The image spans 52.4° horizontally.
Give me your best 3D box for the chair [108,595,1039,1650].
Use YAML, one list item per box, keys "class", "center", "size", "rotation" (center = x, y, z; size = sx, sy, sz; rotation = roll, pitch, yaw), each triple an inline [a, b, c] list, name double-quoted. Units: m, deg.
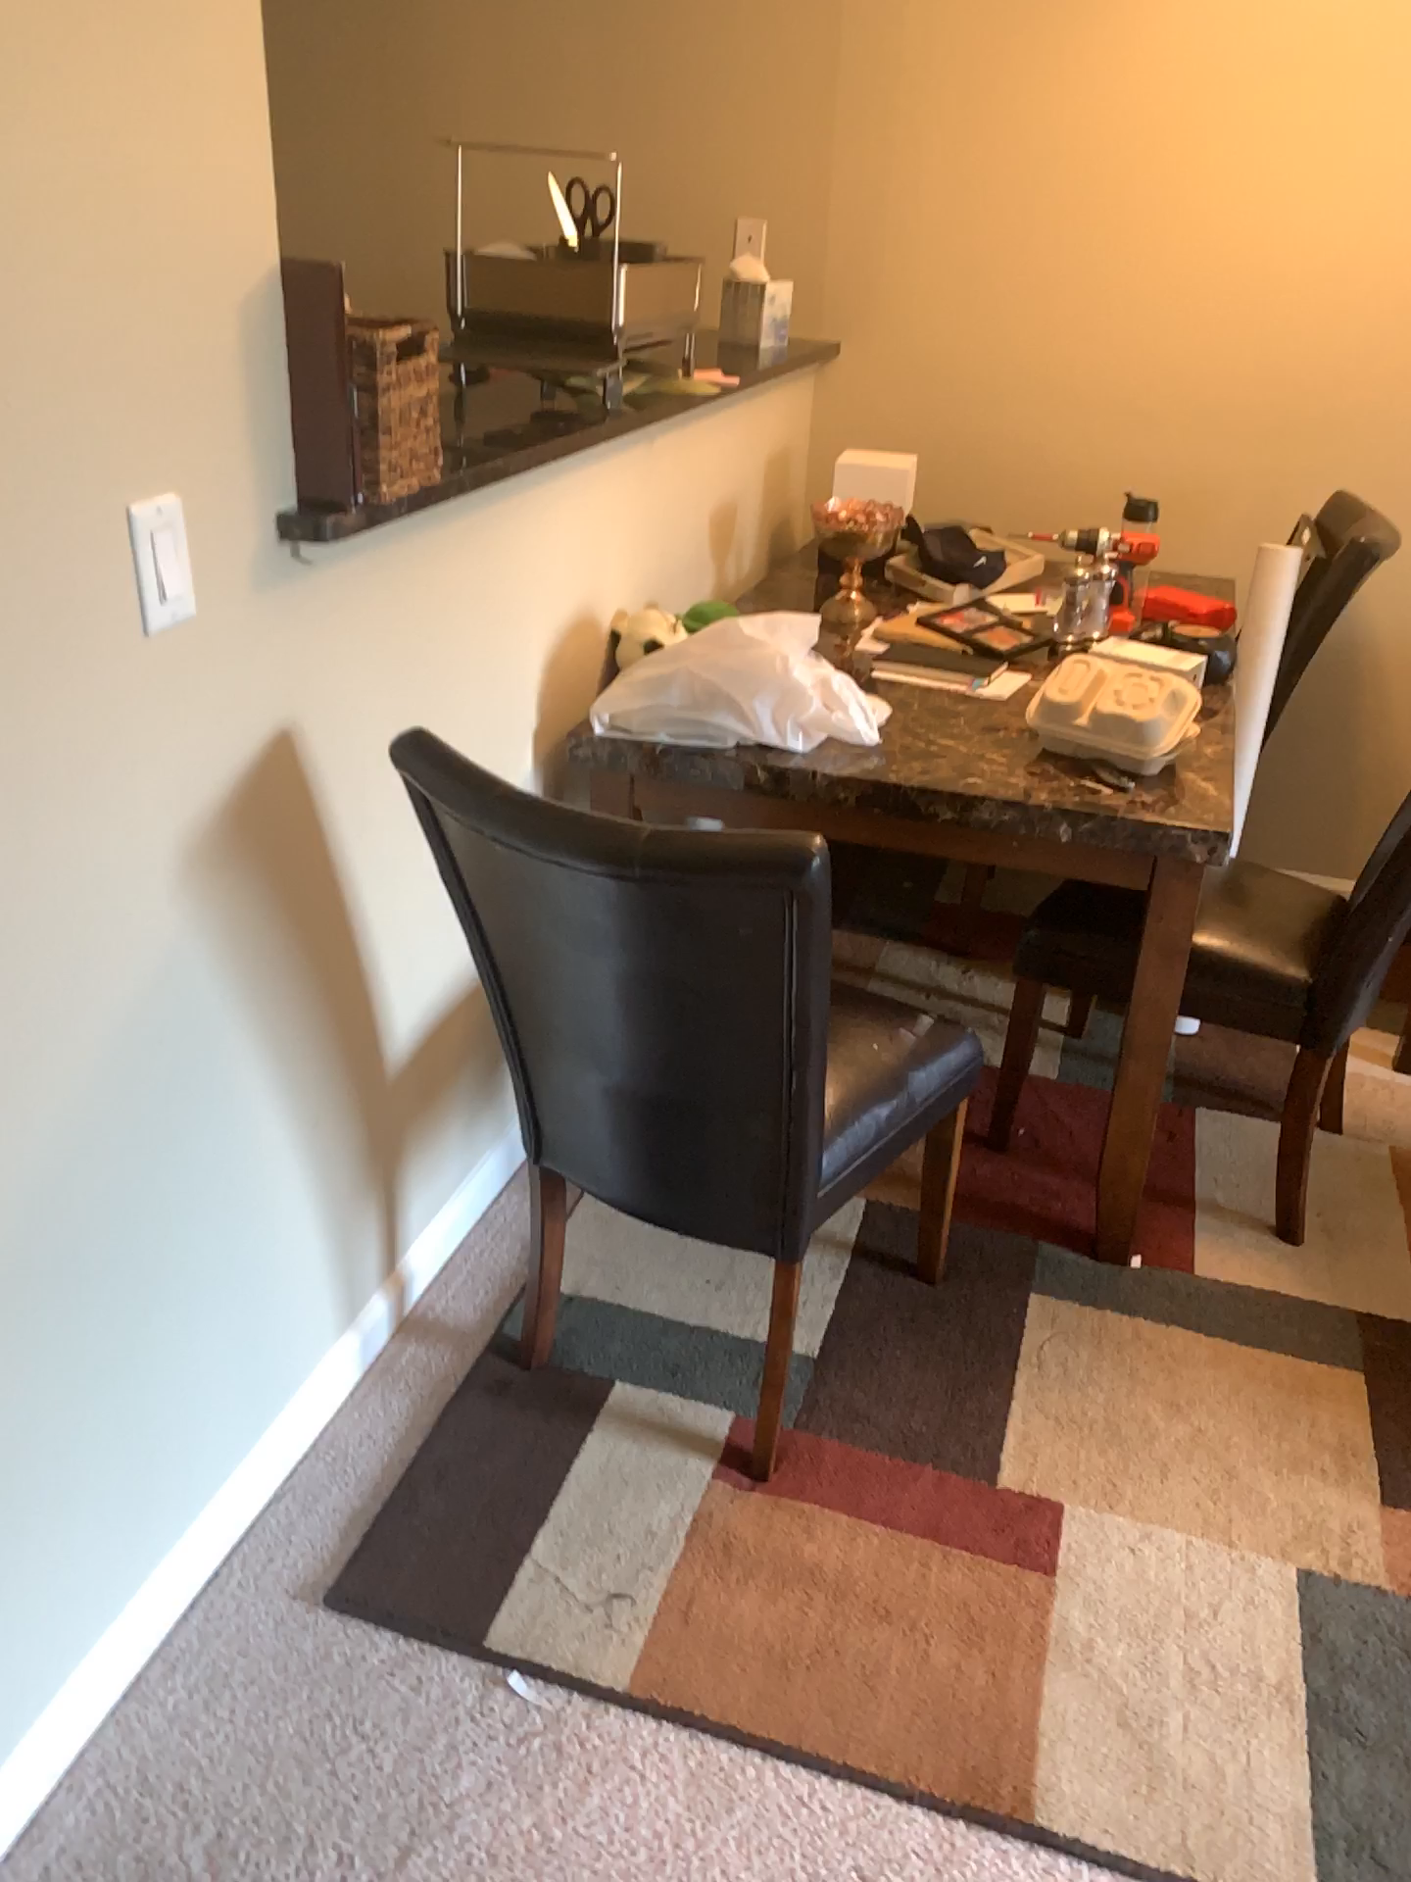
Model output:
- class: "chair"
  center: [-0.127, 0.151, 1.862]
  size: [0.811, 0.925, 0.733]
  rotation: [15, 30, 21]
